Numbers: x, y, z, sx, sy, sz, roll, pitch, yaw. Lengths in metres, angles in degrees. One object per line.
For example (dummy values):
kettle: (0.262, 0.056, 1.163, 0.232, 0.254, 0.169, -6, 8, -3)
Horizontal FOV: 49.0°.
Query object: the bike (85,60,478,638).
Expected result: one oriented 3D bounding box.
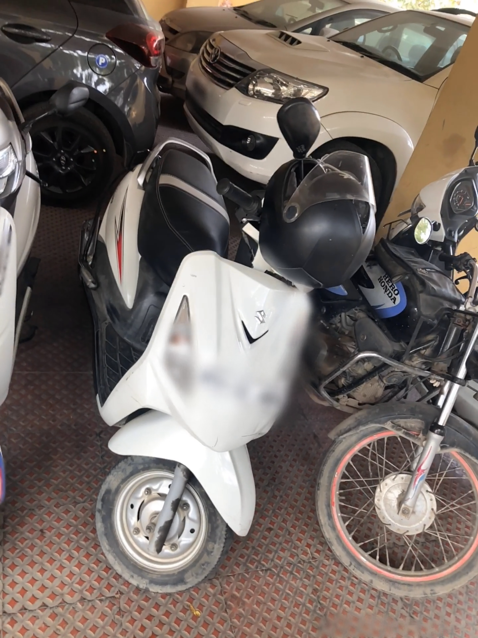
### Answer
bike: (0.029, 0.022, 1.907, 0.834, 0.940, 1.513, 0, 46, -28)
